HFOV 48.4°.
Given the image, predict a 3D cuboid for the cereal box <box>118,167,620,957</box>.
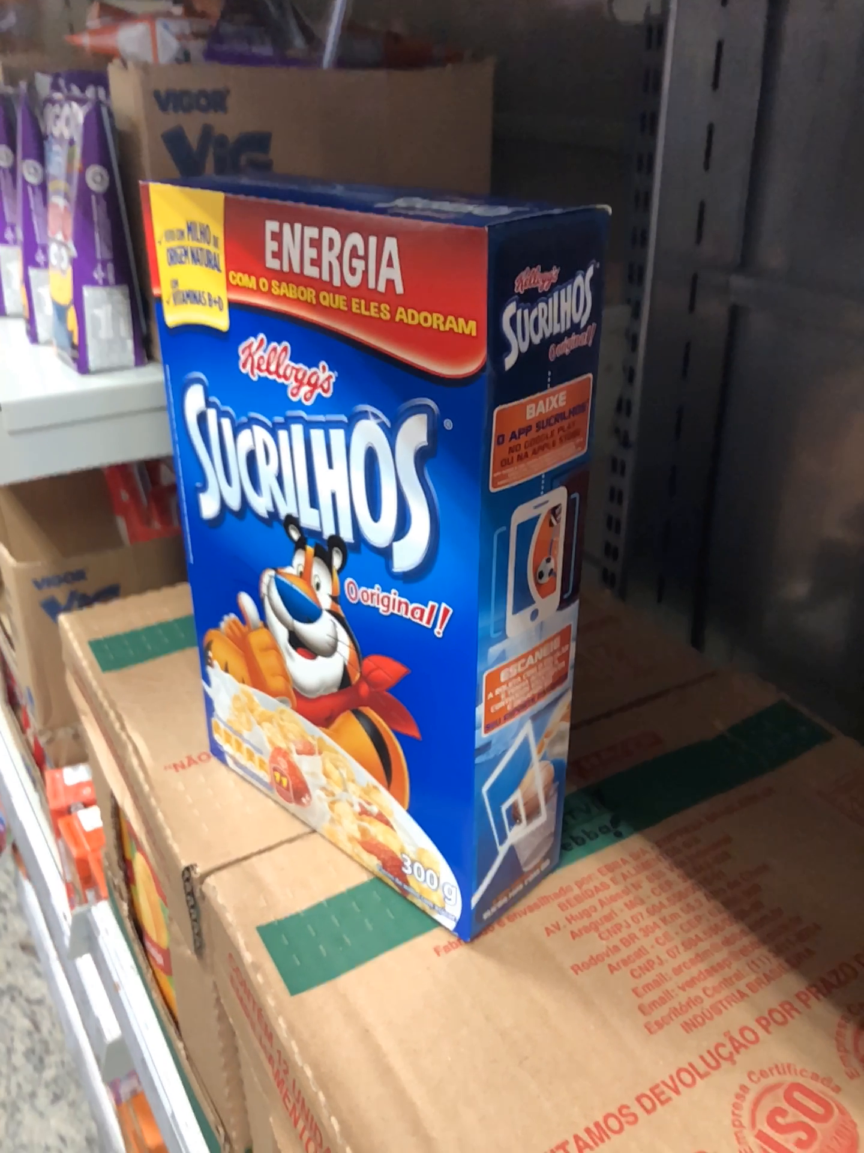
[{"bbox_3d":[-0.026,-0.012,0.359,0.060,0.248,0.171,-25,36,-38],"label":"cereal box"}]
